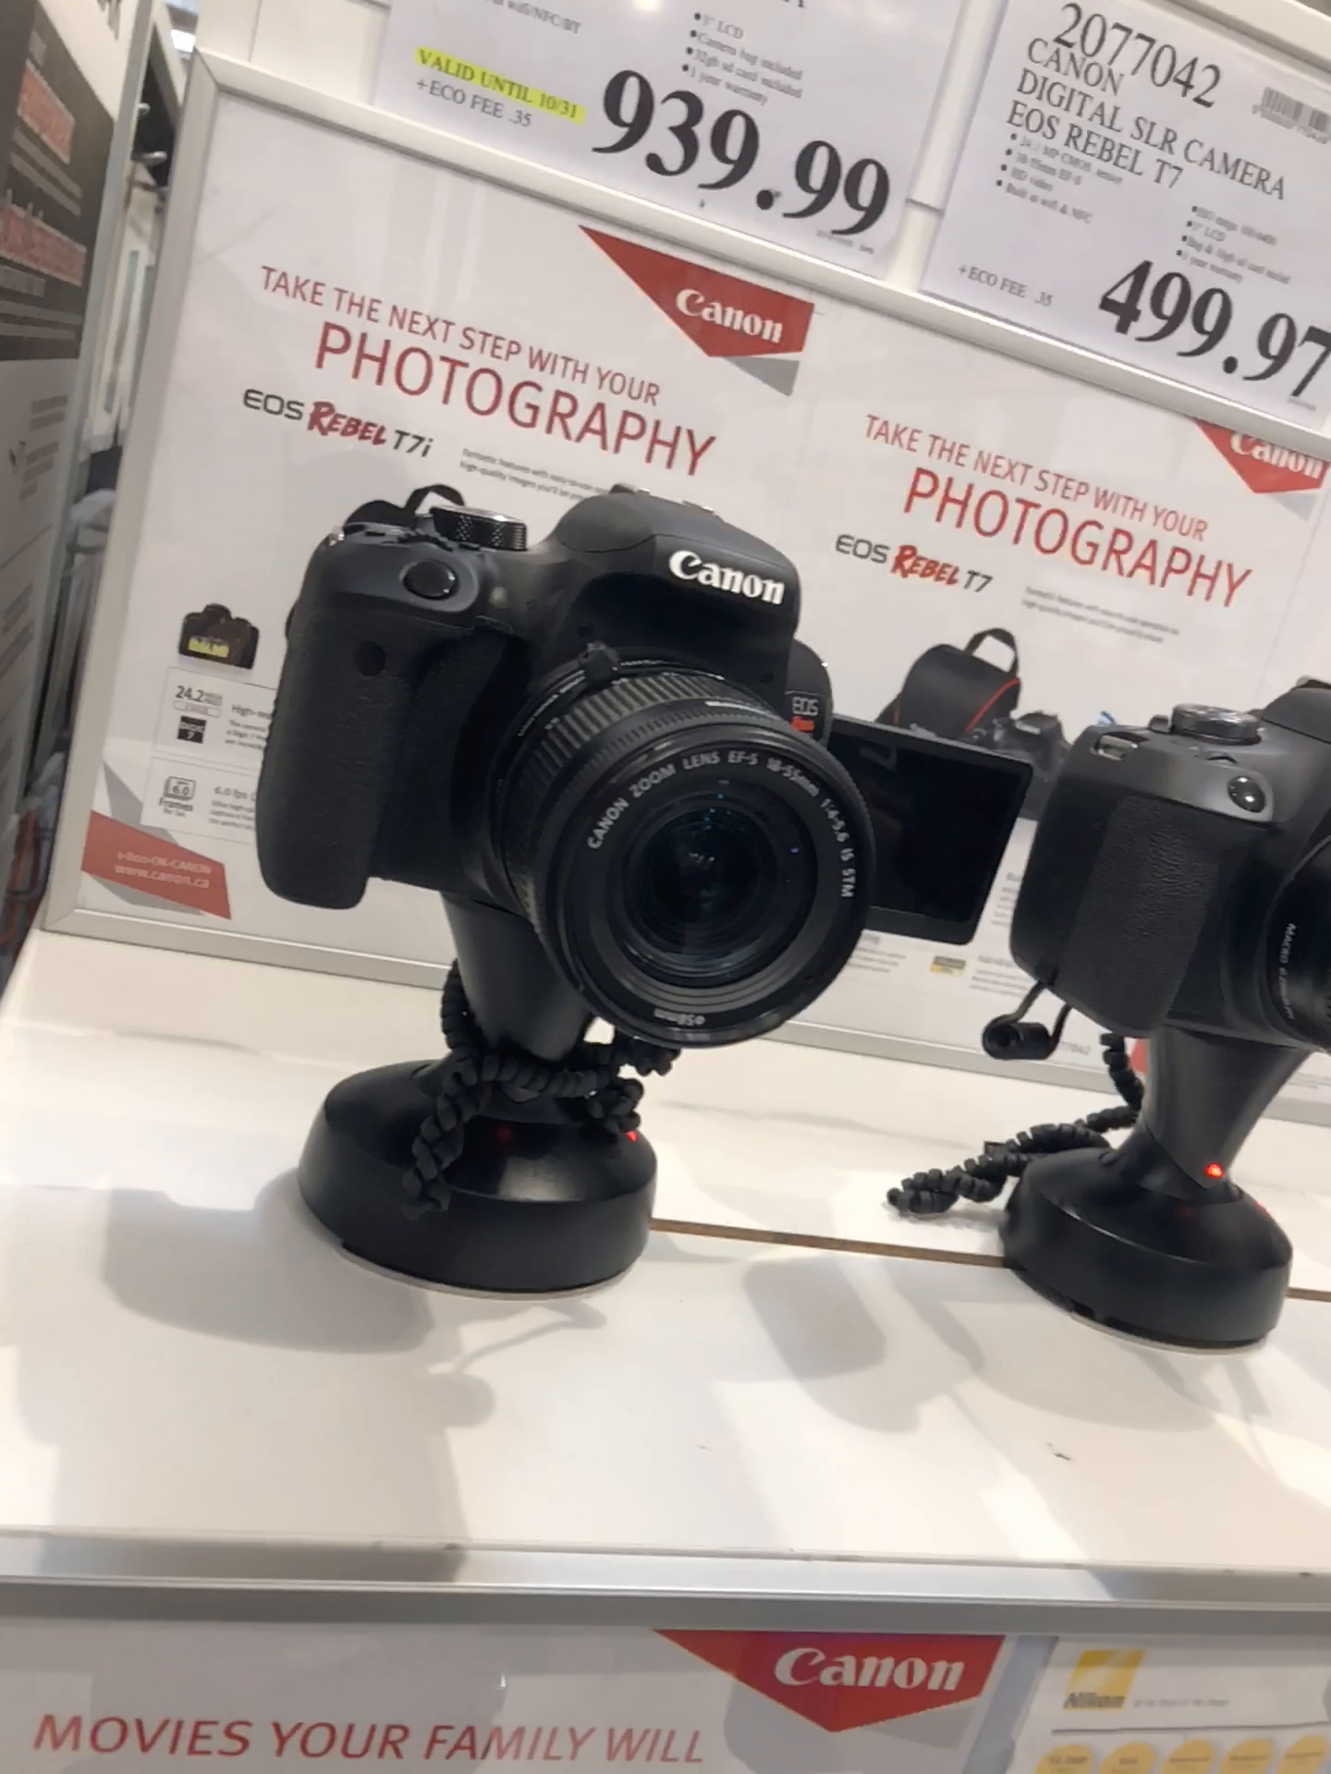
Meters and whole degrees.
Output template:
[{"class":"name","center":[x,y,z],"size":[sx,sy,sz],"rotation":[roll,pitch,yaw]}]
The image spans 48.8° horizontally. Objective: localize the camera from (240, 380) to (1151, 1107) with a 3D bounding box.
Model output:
[{"class":"camera","center":[-0.011,-0.039,0.321],"size":[0.140,0.100,0.151],"rotation":[10,15,-20]}]
